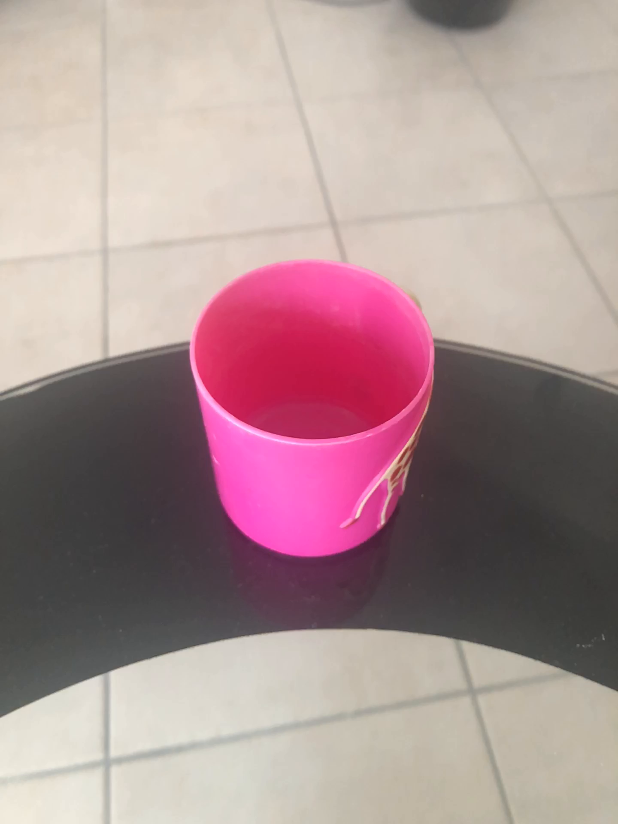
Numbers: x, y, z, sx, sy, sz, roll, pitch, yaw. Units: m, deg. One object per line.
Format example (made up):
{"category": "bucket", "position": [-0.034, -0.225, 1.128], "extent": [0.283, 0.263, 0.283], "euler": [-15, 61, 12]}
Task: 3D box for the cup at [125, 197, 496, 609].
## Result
{"category": "cup", "position": [0.004, -0.004, 0.222], "extent": [0.070, 0.070, 0.091], "euler": [23, 57, 15]}
